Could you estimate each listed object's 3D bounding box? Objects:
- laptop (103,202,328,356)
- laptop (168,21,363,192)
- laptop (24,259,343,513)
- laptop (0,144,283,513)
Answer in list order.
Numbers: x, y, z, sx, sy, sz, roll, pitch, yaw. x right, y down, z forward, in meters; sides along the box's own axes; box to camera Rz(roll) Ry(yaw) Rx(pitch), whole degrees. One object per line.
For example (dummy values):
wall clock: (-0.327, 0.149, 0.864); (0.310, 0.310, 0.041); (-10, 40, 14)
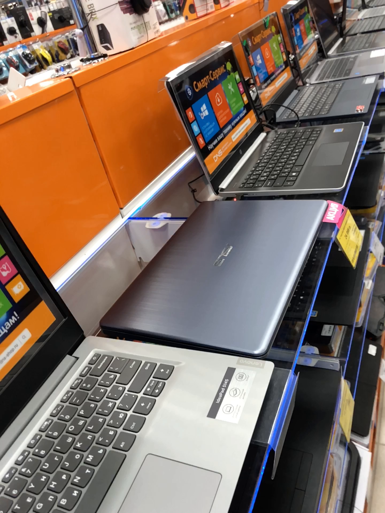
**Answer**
laptop: (0.050, 0.001, 0.596); (0.213, 0.001, 0.325); (4, 36, 28)
laptop: (0.170, -0.297, 0.830); (0.271, 0.205, 0.337); (2, 35, 26)
laptop: (0.032, 0.216, 0.642); (0.313, 0.226, 0.378); (3, 36, 28)
laptop: (-0.136, 0.109, 0.293); (0.289, 0.224, 0.355); (2, 36, 26)
